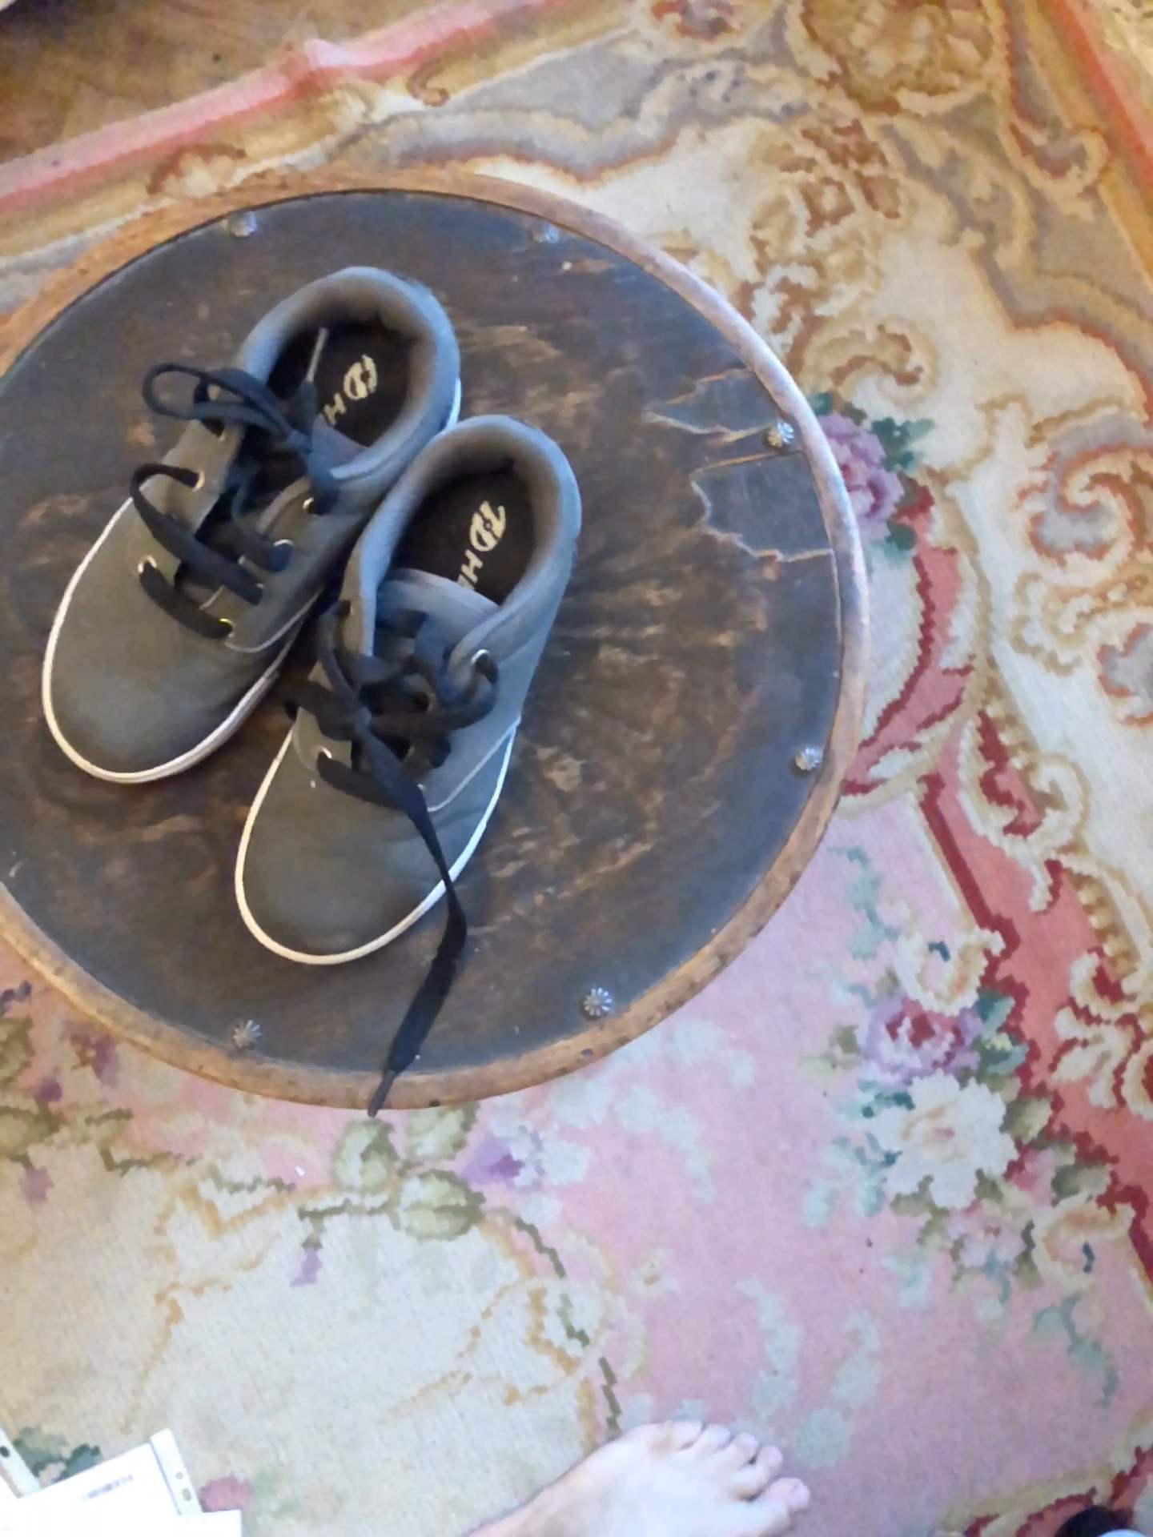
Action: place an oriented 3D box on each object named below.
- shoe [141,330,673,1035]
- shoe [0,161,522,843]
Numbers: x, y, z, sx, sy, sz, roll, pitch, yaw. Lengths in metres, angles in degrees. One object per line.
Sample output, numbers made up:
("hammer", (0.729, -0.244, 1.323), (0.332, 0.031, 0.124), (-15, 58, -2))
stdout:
("shoe", (-0.056, -0.026, 0.459), (0.090, 0.100, 0.211), (24, 83, -3))
("shoe", (-0.118, -0.088, 0.465), (0.090, 0.100, 0.211), (34, 82, -2))
